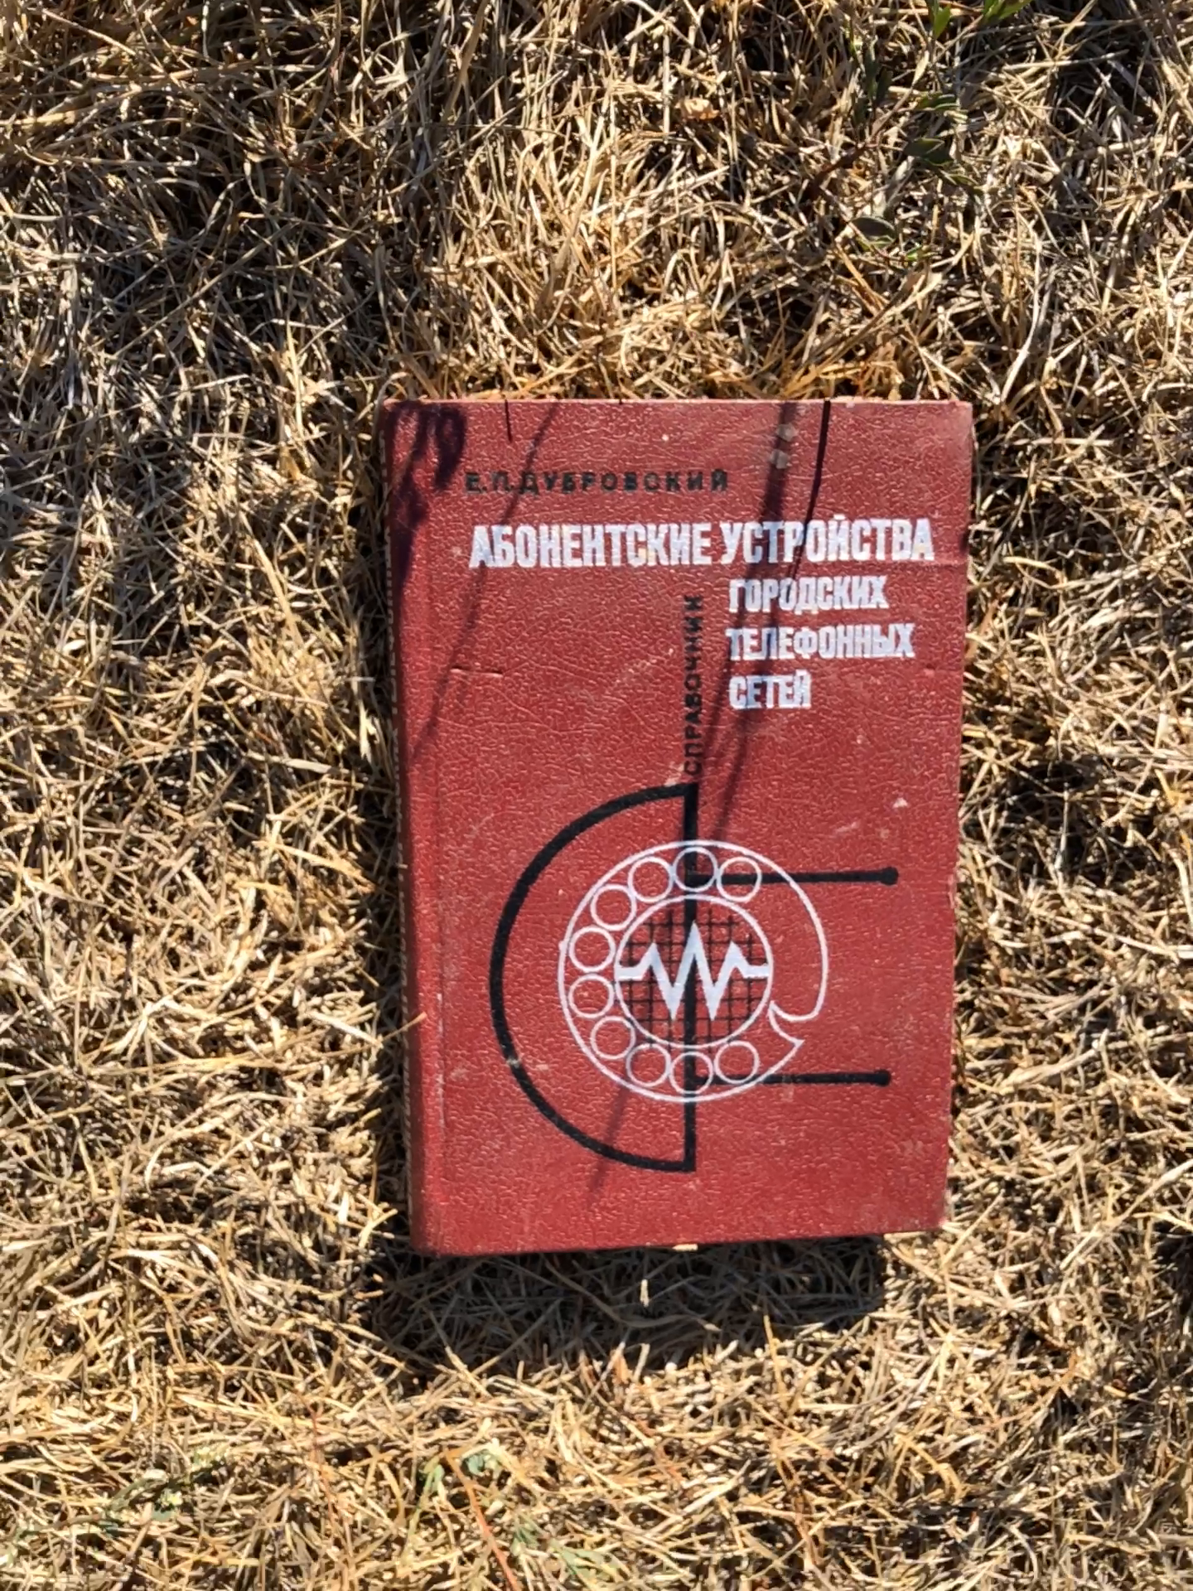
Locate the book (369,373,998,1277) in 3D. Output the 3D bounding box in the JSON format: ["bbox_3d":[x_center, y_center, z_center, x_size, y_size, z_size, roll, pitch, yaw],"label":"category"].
[{"bbox_3d":[0.019,0.009,0.328,0.141,0.030,0.211,-1,100,-7],"label":"book"}]
